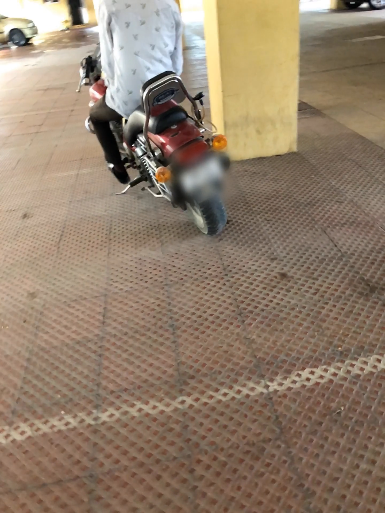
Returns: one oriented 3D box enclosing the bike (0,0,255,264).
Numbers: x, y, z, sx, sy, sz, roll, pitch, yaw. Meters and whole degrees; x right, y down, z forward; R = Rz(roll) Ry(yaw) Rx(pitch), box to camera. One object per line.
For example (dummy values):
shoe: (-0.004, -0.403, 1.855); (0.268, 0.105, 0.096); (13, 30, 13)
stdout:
bike: (-0.517, -0.960, 2.372); (0.758, 1.048, 1.653); (-22, 42, -23)
